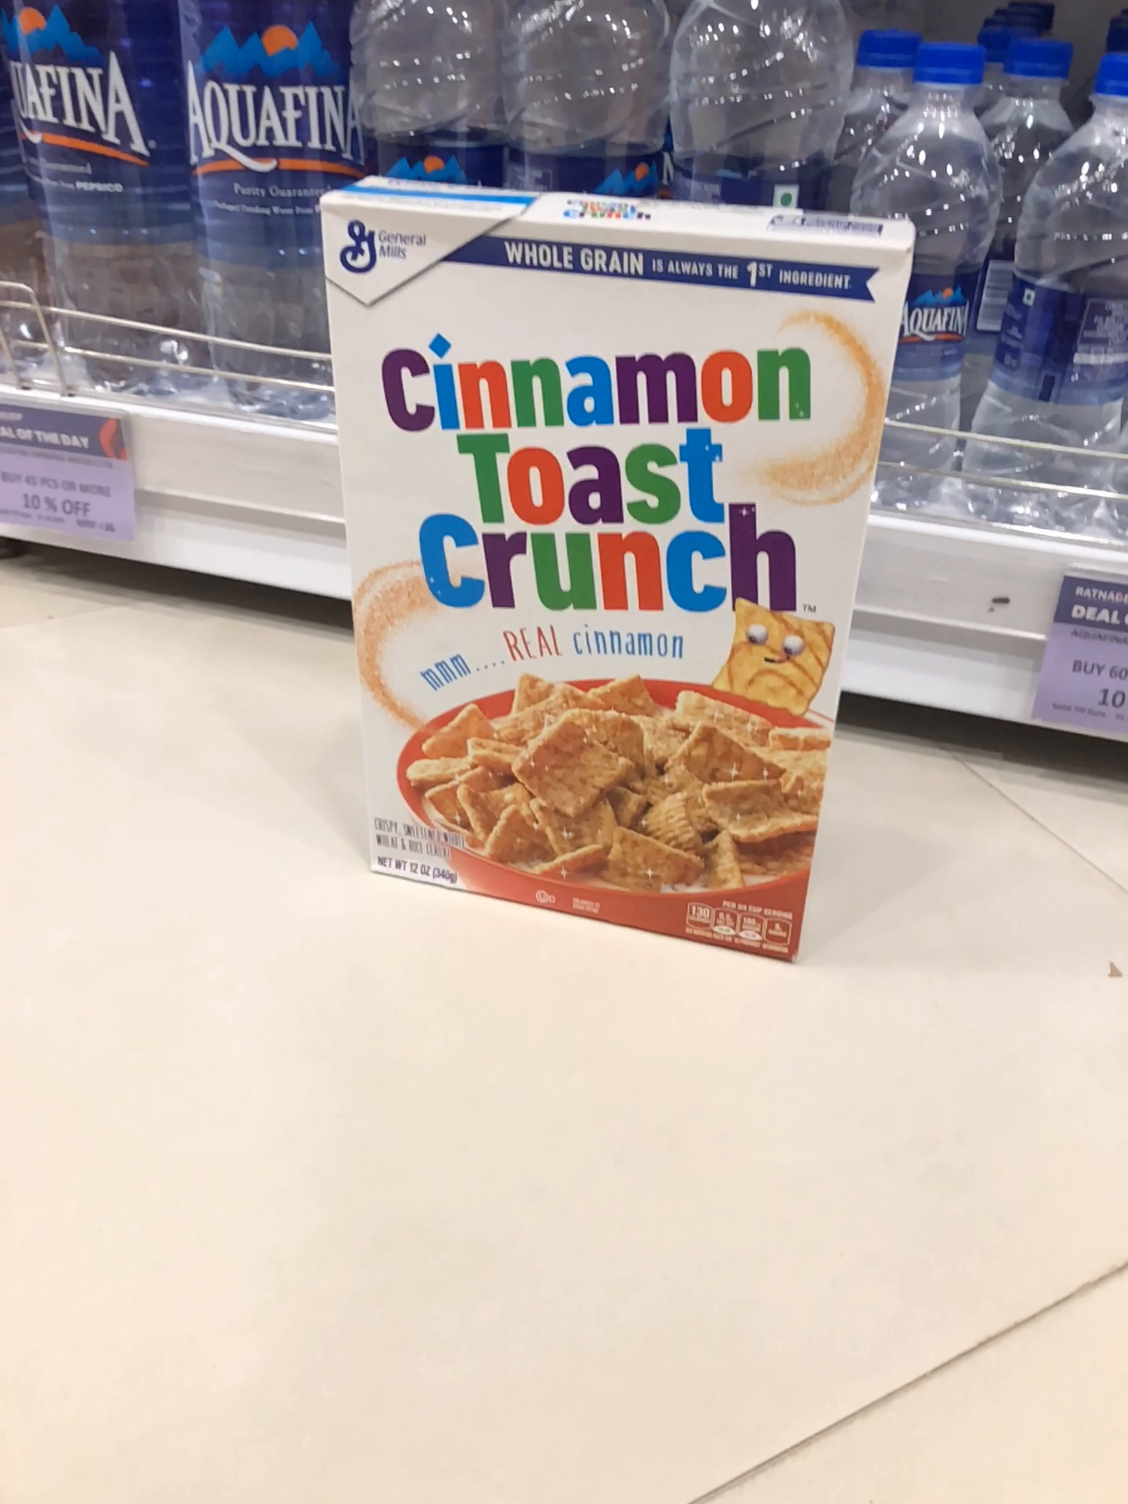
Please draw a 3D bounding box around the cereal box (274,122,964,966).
[{"bbox_3d":[0.015,-0.065,0.454,0.200,0.278,0.060,10,35,12],"label":"cereal box"}]
